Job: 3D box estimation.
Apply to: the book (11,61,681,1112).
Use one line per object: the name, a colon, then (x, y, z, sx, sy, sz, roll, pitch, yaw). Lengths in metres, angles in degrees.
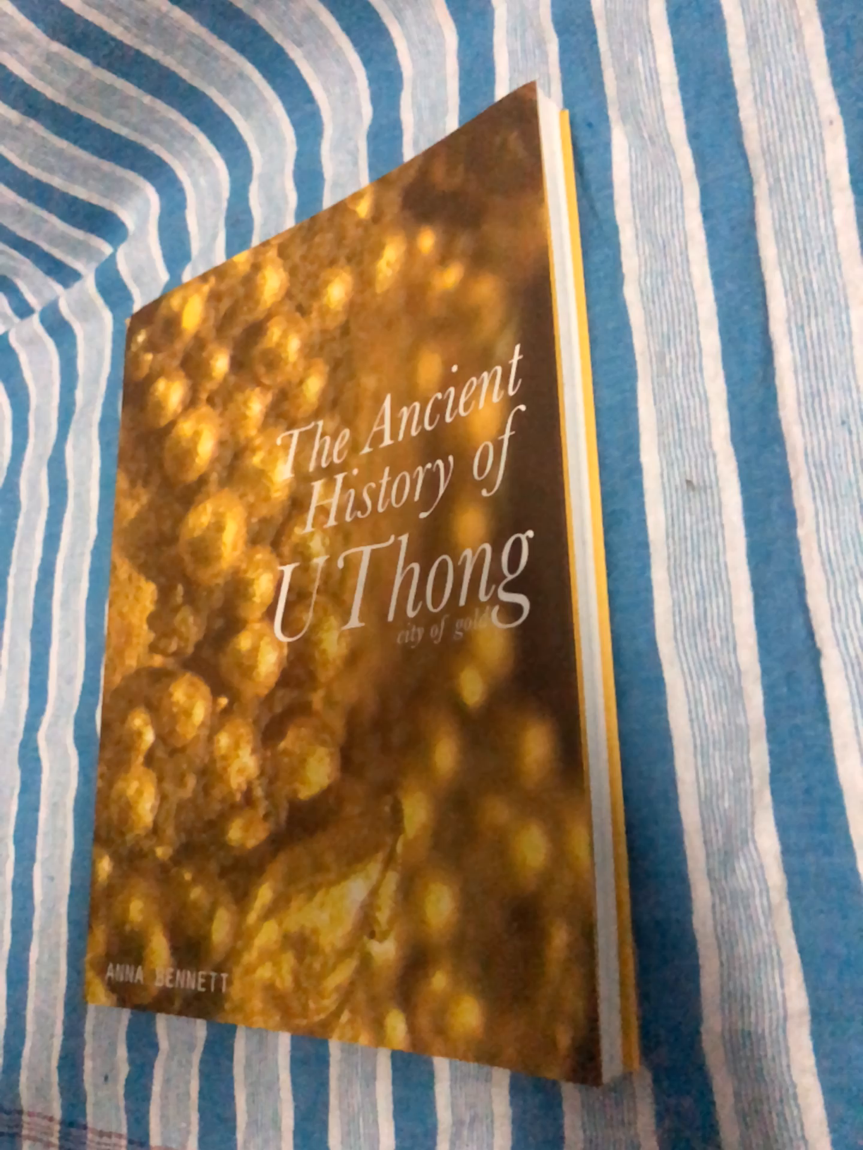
book: (-0.046, 0.007, 0.296, 0.221, 0.030, 0.250, -12, 72, 35)
